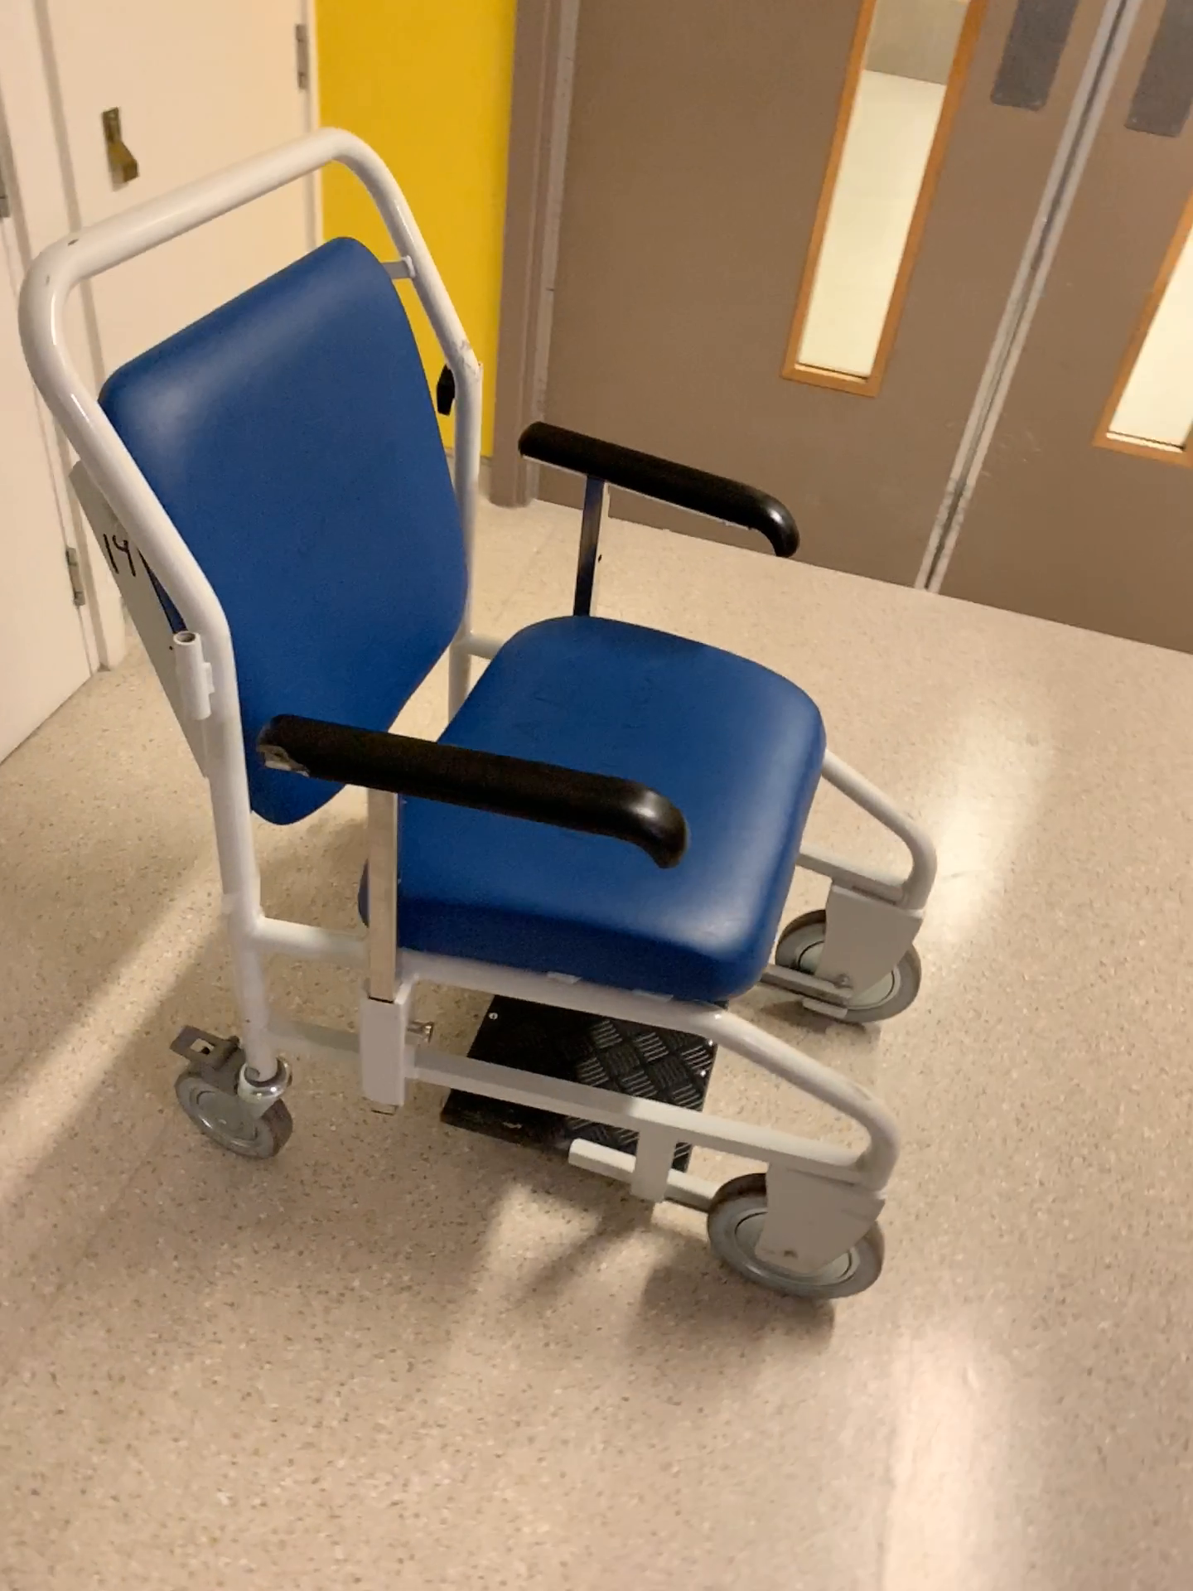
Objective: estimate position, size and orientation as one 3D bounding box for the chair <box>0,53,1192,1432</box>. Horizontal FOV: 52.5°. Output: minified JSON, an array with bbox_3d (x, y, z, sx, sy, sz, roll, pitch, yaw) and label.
[{"bbox_3d":[0.044,-0.078,1.346,0.941,1.030,0.827,17,43,9],"label":"chair"}]
